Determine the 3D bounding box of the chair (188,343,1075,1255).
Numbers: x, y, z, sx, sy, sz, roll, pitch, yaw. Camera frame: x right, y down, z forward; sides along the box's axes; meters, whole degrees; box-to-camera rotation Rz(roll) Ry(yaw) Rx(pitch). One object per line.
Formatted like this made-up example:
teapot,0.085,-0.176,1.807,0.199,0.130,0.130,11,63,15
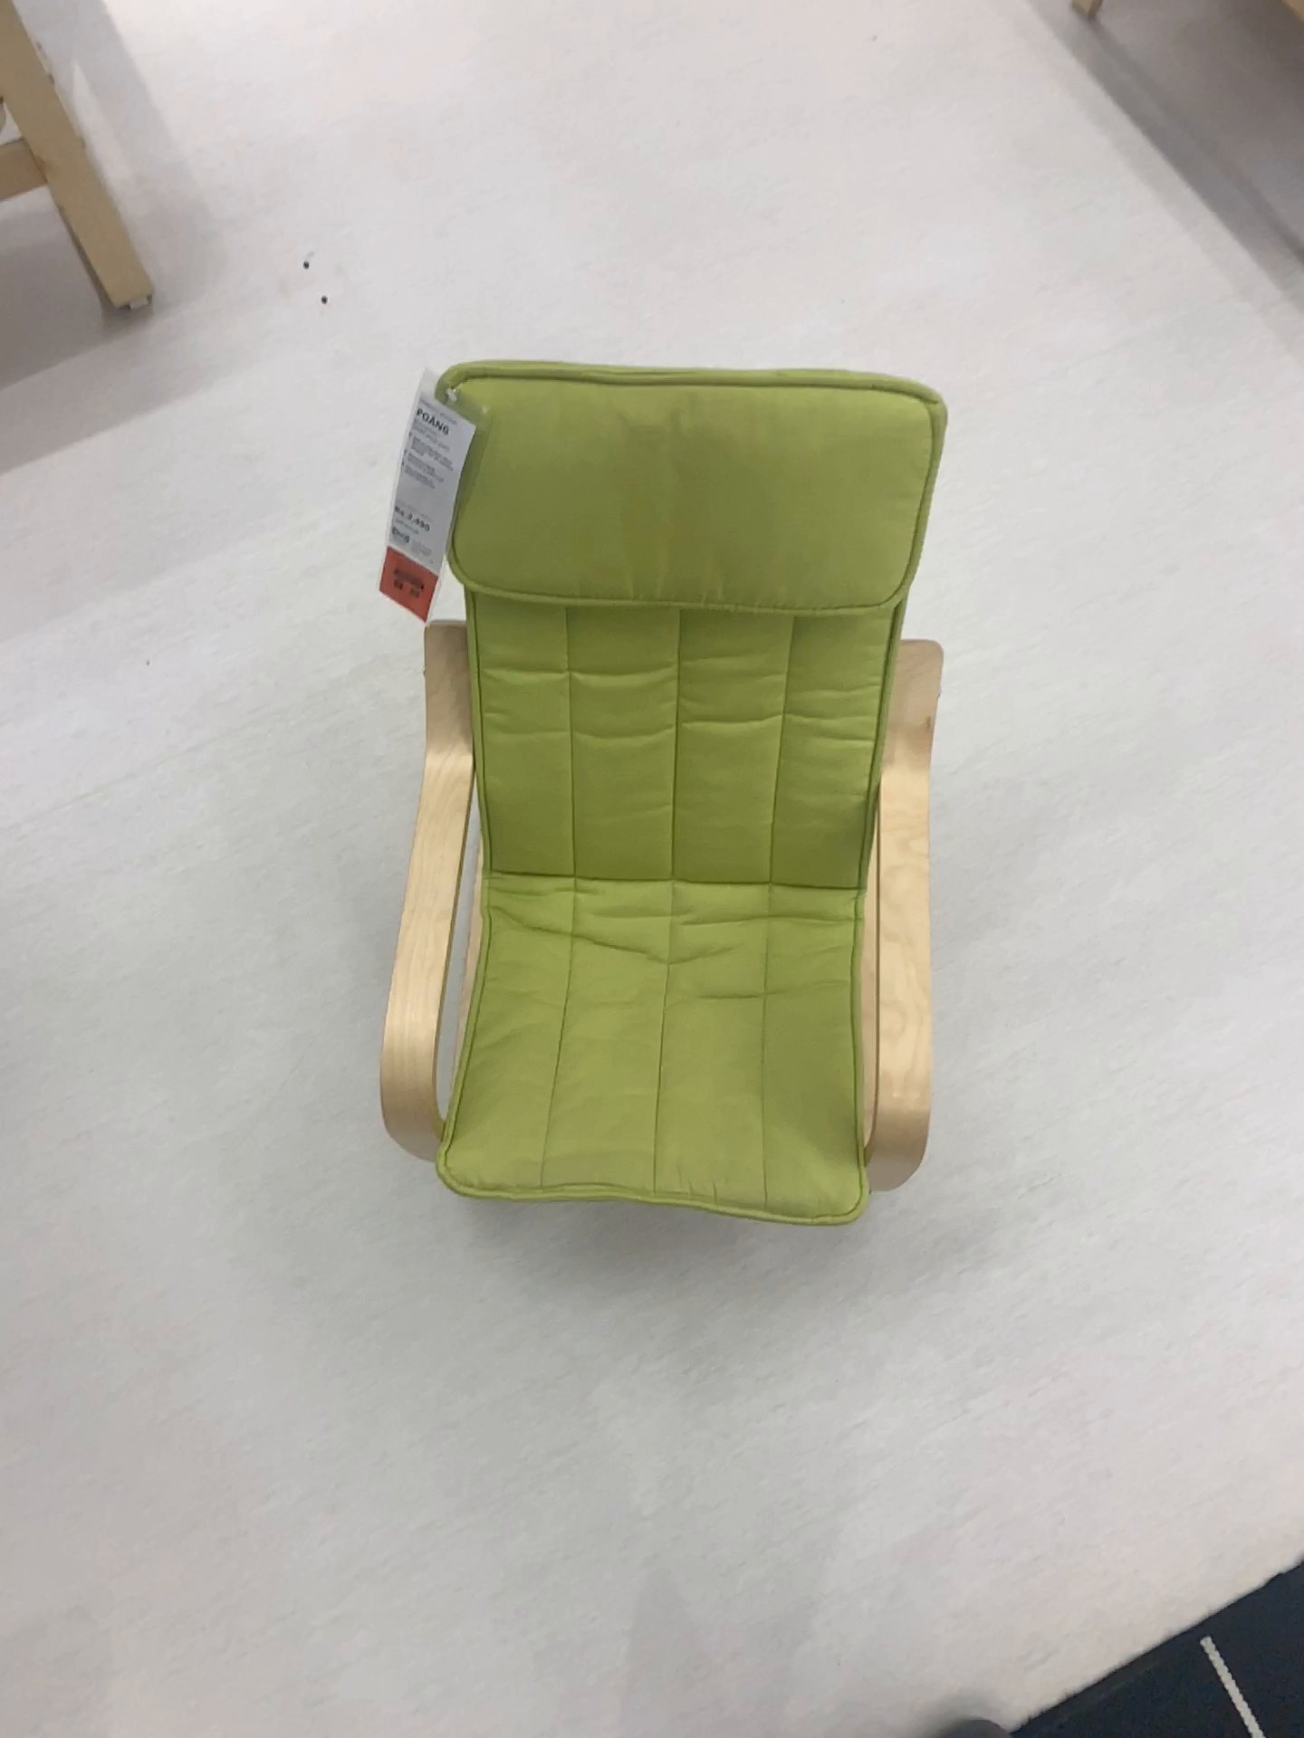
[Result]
chair,0.005,0.027,1.259,0.520,0.820,0.570,2,69,2
